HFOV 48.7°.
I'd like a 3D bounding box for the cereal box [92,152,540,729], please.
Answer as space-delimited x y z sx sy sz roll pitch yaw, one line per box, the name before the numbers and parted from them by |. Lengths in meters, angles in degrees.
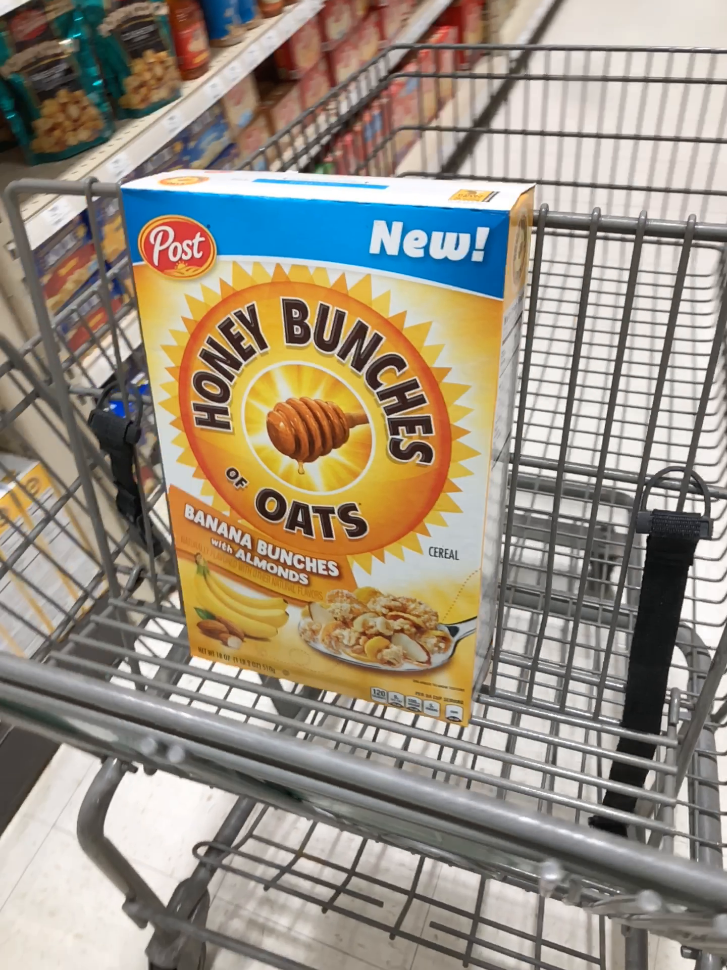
cereal box | -0.023 -0.017 0.449 0.200 0.300 0.060 10 32 17
